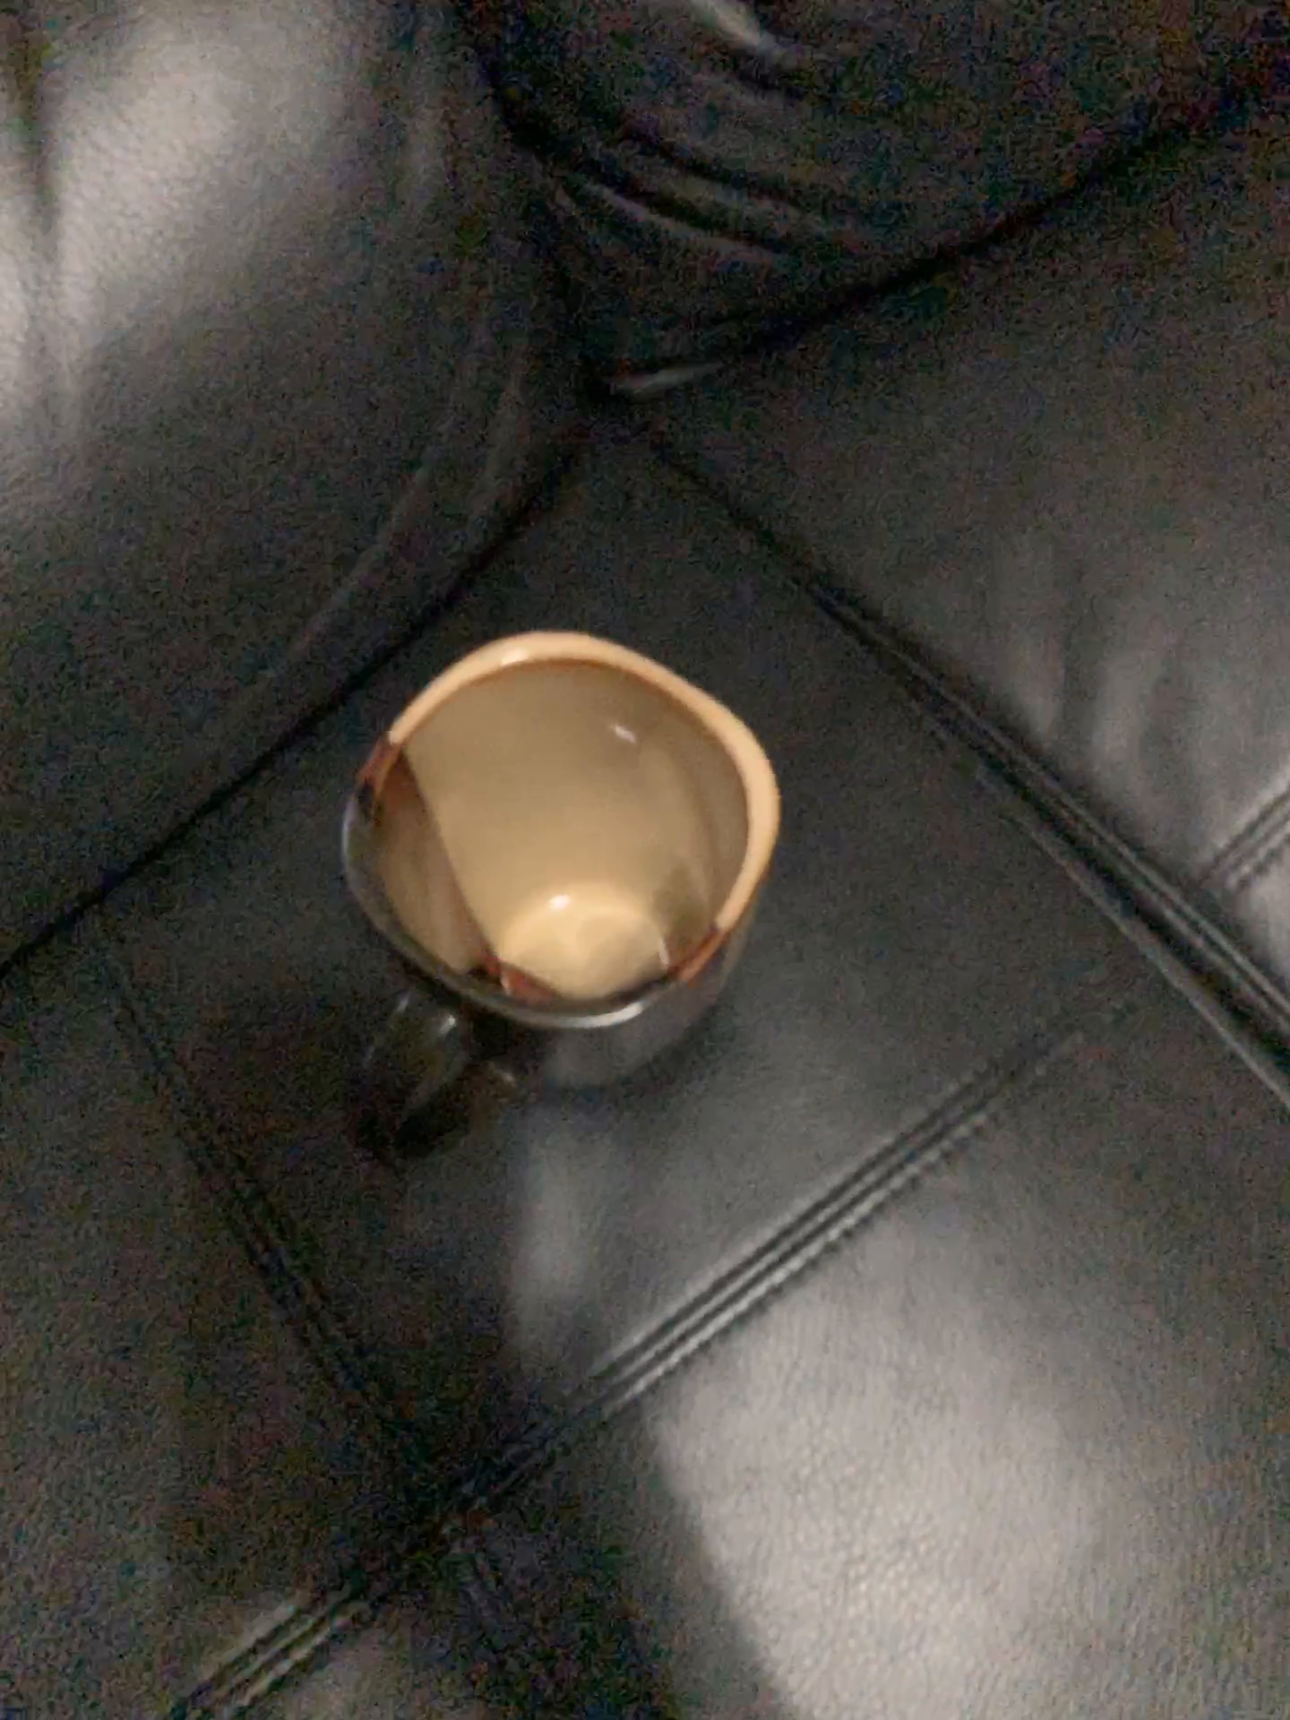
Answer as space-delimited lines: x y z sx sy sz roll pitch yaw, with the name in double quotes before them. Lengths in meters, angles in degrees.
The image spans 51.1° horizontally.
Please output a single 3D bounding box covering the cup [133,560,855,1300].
"cup" -0.032 0.023 0.357 0.098 0.110 0.138 36 71 14
